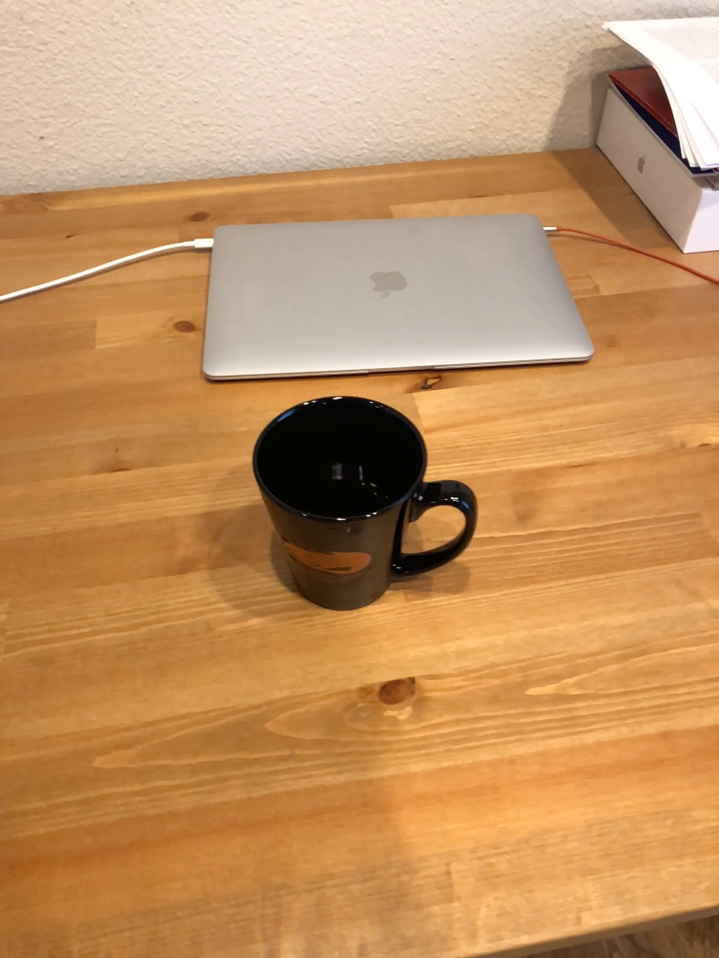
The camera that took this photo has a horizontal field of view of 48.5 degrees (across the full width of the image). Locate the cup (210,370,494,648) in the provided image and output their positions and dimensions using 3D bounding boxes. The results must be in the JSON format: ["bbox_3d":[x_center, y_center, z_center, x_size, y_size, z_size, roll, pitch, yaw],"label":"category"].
[{"bbox_3d":[0.000,0.014,0.429,0.120,0.090,0.090,12,48,12],"label":"cup"}]
